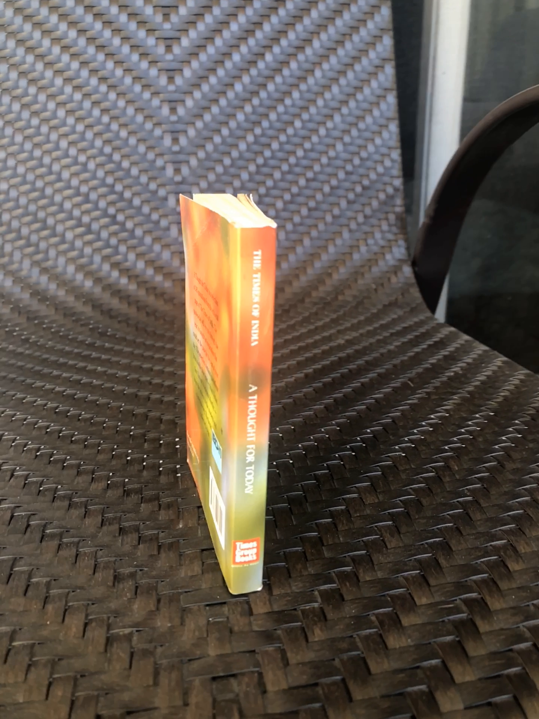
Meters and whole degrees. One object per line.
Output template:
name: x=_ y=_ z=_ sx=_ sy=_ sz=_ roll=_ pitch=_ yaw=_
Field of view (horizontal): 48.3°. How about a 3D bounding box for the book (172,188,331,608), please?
book: x=-0.014 y=0.005 z=0.236 sx=0.031 sy=0.128 sz=0.106 roll=-5 pitch=23 yaw=-15
